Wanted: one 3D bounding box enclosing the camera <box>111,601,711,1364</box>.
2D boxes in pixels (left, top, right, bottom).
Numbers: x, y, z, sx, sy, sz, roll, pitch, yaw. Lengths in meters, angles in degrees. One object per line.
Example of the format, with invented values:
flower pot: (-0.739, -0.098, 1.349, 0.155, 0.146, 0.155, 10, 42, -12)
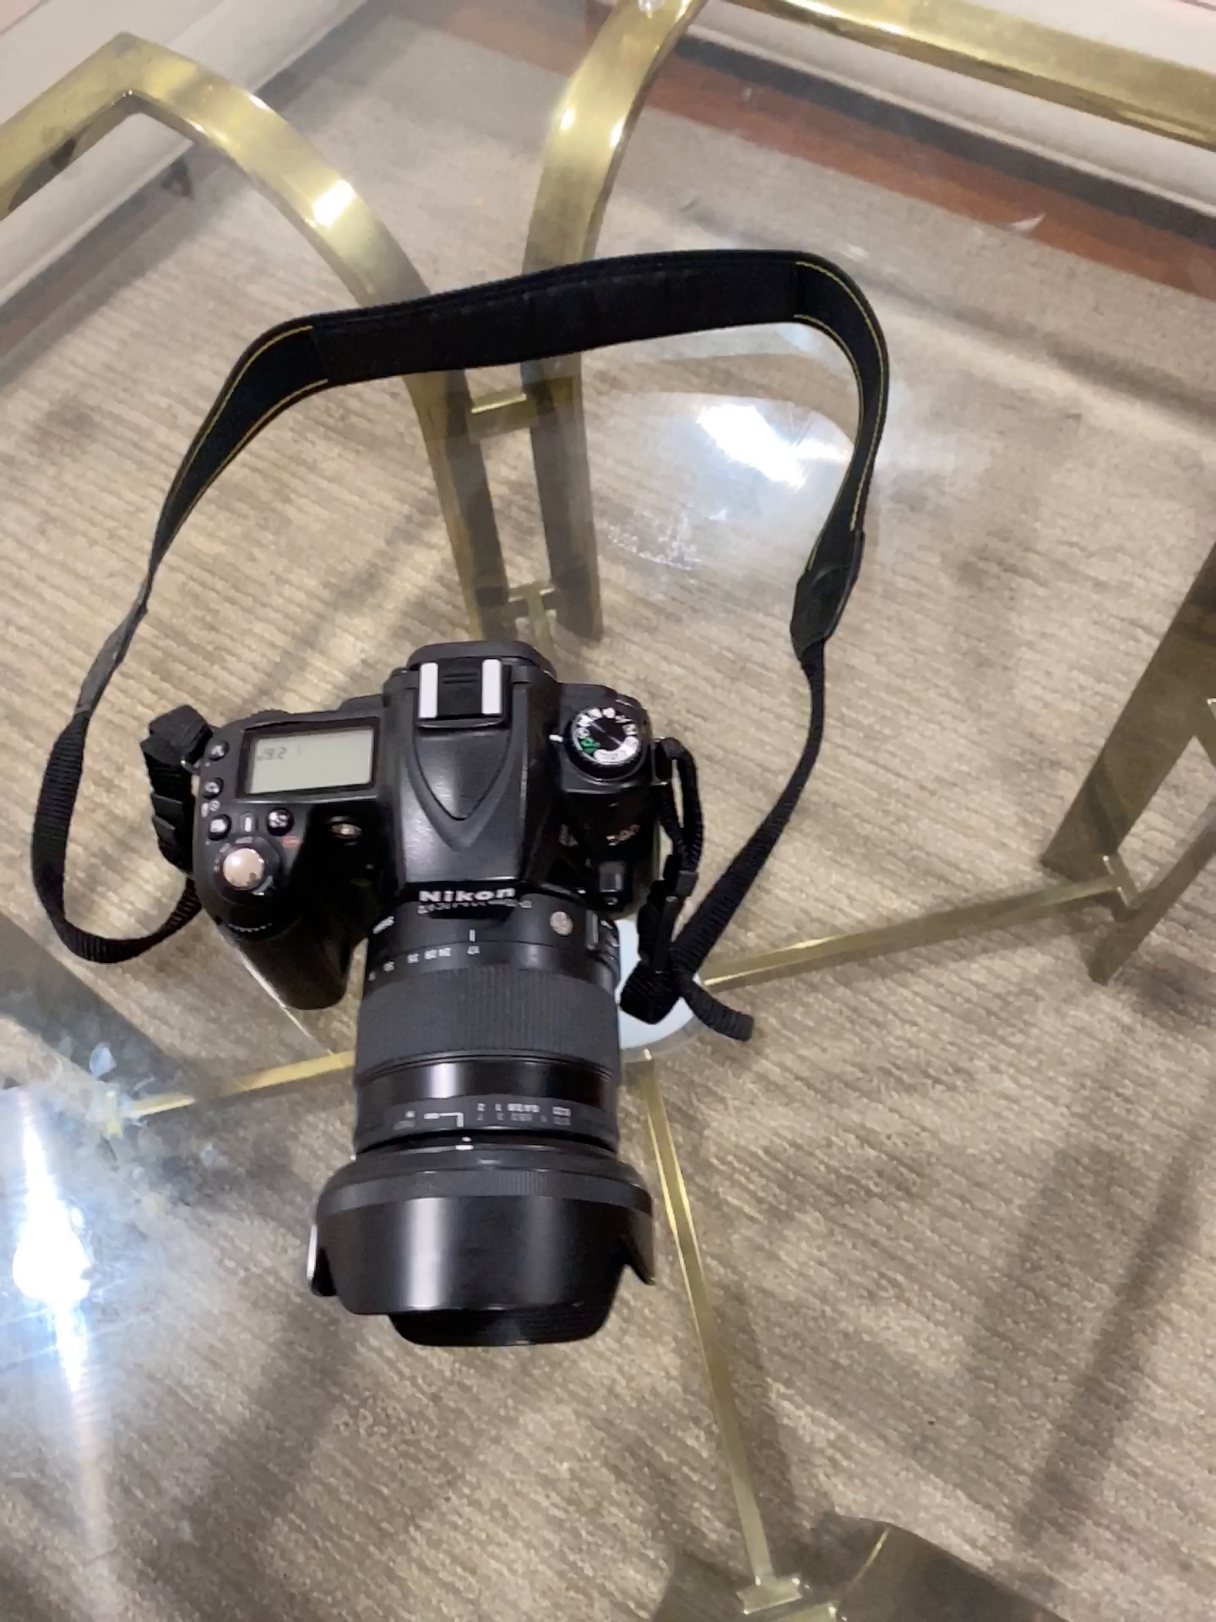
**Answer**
camera: (-0.046, 0.053, 0.364, 0.130, 0.120, 0.180, -5, 61, 1)
